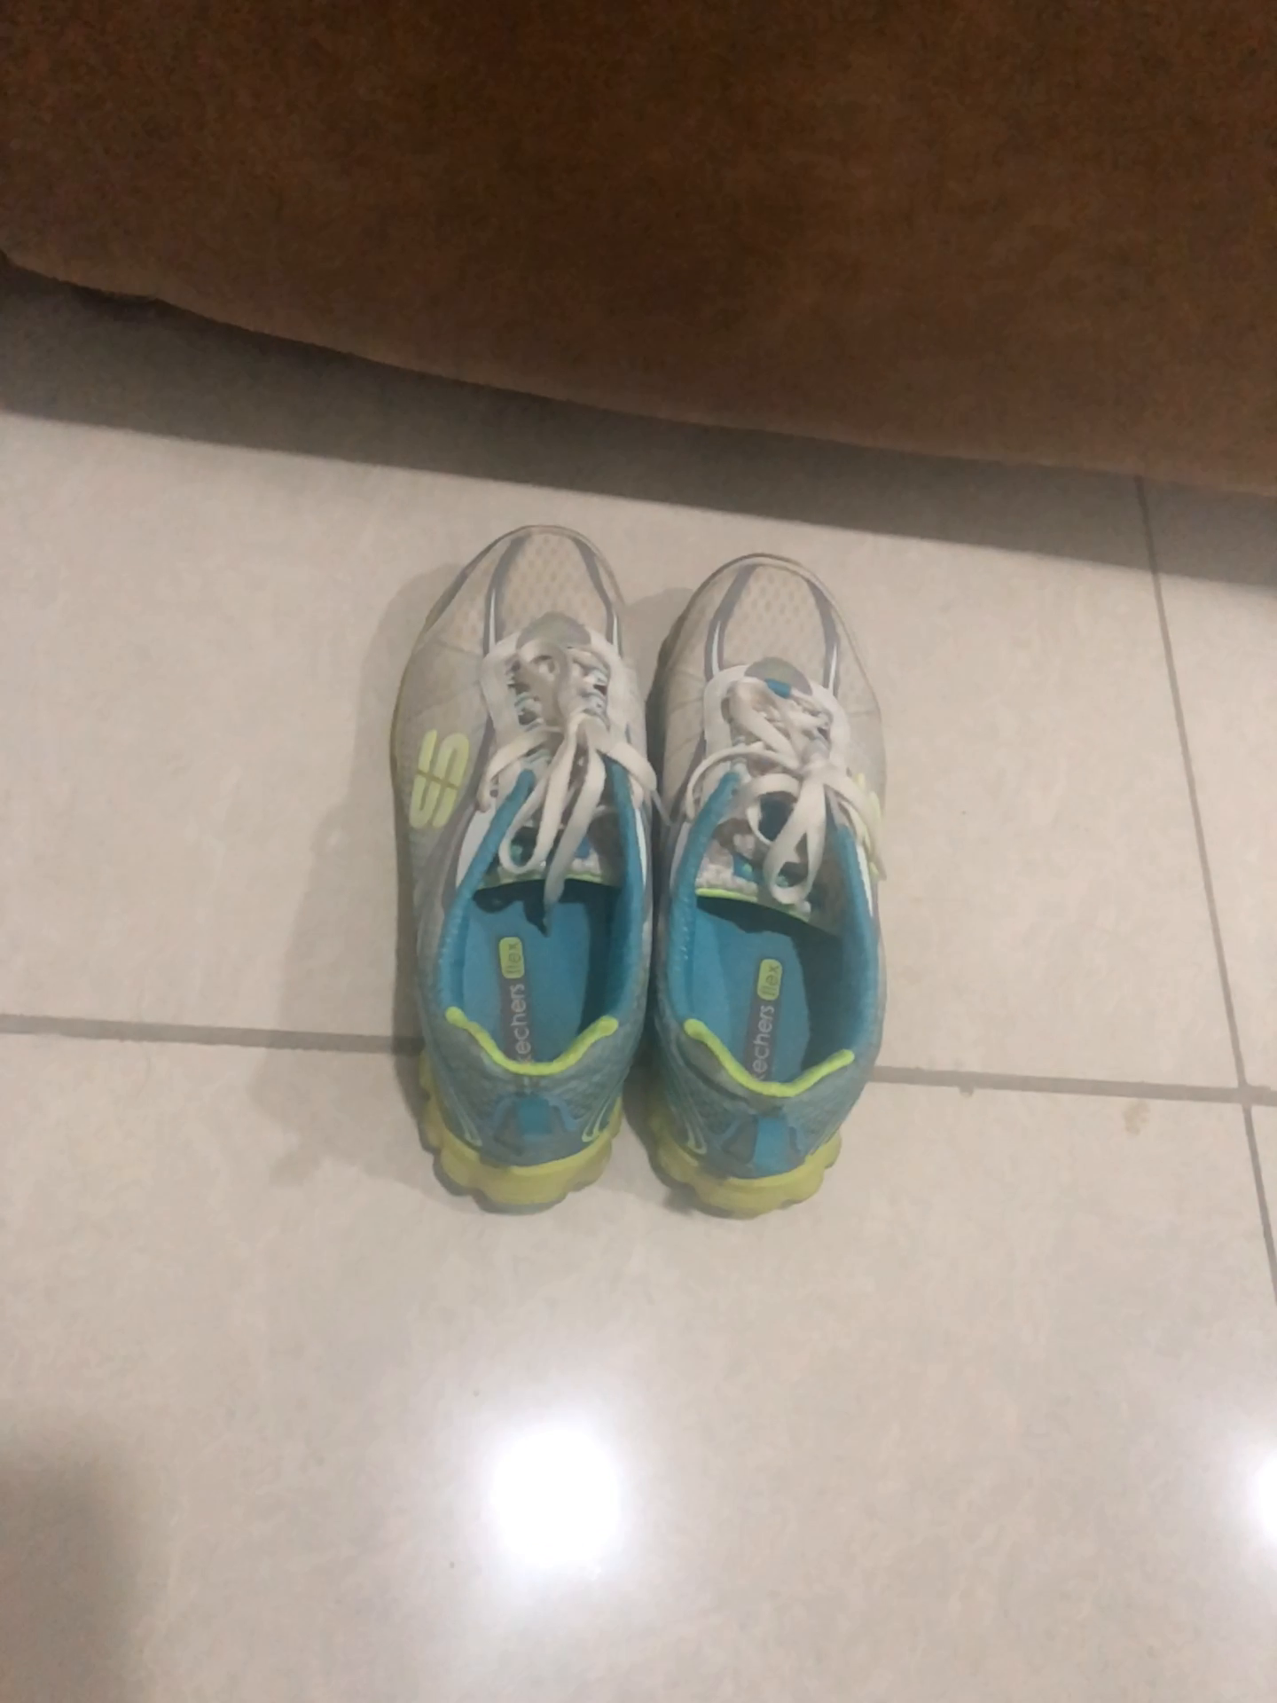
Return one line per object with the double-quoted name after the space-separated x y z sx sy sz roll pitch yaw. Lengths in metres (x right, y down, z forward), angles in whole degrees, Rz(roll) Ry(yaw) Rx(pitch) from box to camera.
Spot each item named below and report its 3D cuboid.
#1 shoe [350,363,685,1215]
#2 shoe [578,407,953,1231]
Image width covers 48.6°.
-0.043 -0.027 0.530 0.100 0.100 0.300 4 65 -8 "shoe"
0.050 -0.017 0.558 0.110 0.100 0.300 8 64 -7 "shoe"
